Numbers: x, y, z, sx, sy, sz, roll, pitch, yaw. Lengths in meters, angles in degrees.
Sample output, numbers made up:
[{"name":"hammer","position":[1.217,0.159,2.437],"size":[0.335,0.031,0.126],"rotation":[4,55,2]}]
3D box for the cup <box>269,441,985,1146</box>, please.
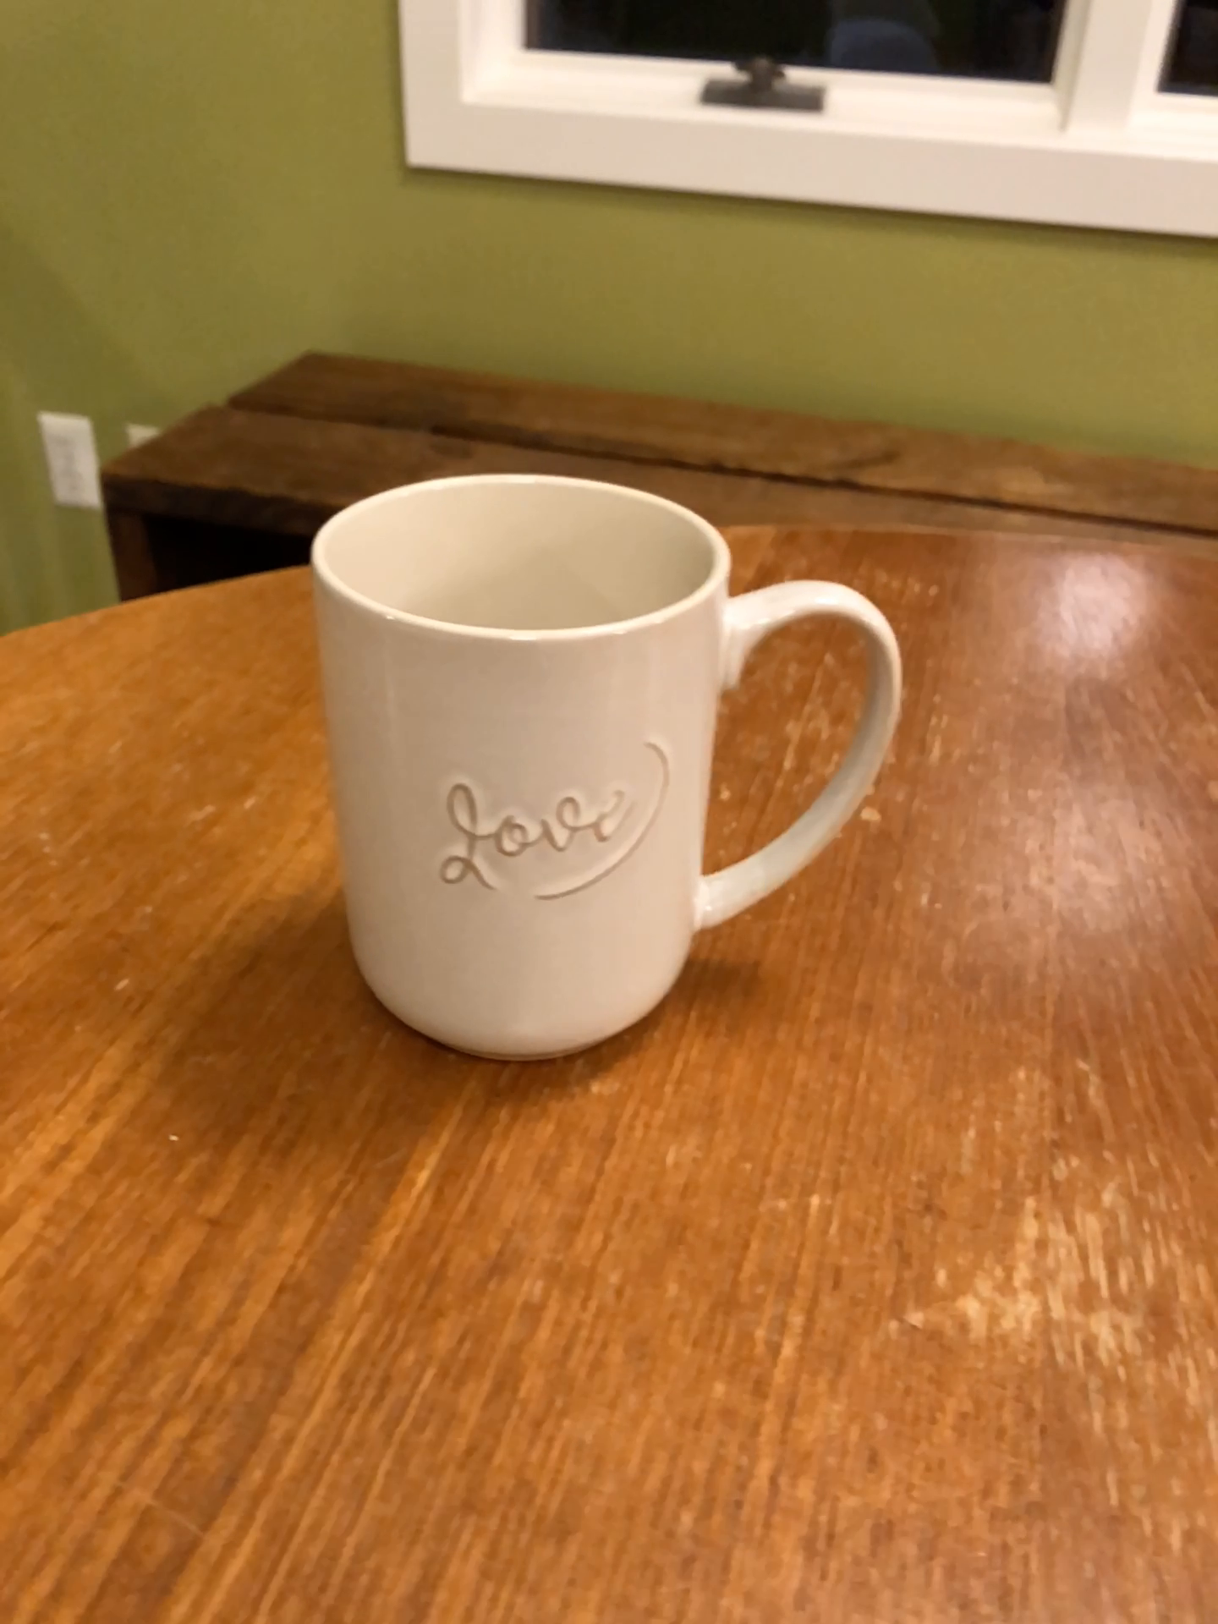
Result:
[{"name":"cup","position":[-0.002,-0.010,0.331],"size":[0.135,0.123,0.092],"rotation":[-9,35,-16]}]
